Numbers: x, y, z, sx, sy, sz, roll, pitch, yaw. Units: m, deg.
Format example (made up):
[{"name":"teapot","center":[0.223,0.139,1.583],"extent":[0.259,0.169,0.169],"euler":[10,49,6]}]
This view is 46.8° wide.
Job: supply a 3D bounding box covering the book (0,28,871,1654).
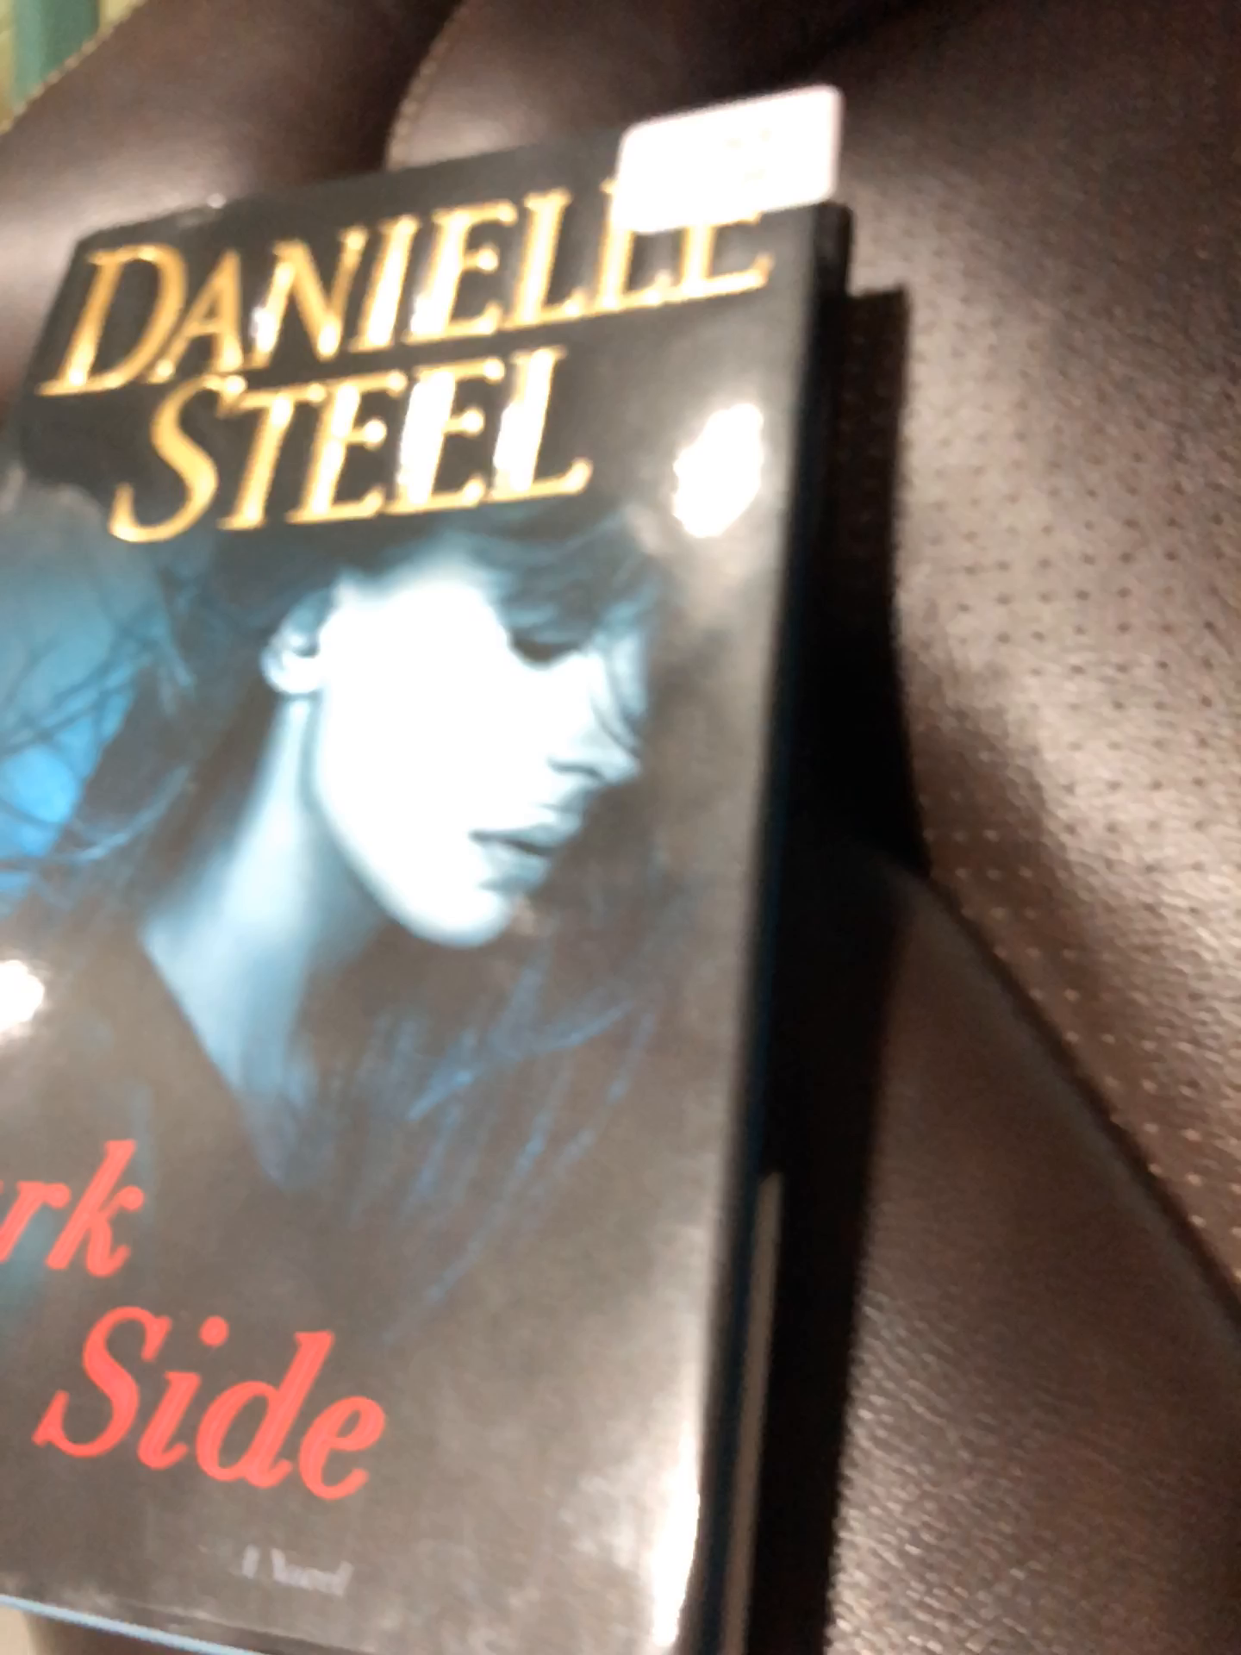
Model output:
[{"name":"book","center":[-0.054,-0.008,0.227],"extent":[0.168,0.040,0.237],"euler":[-1,66,20]}]
